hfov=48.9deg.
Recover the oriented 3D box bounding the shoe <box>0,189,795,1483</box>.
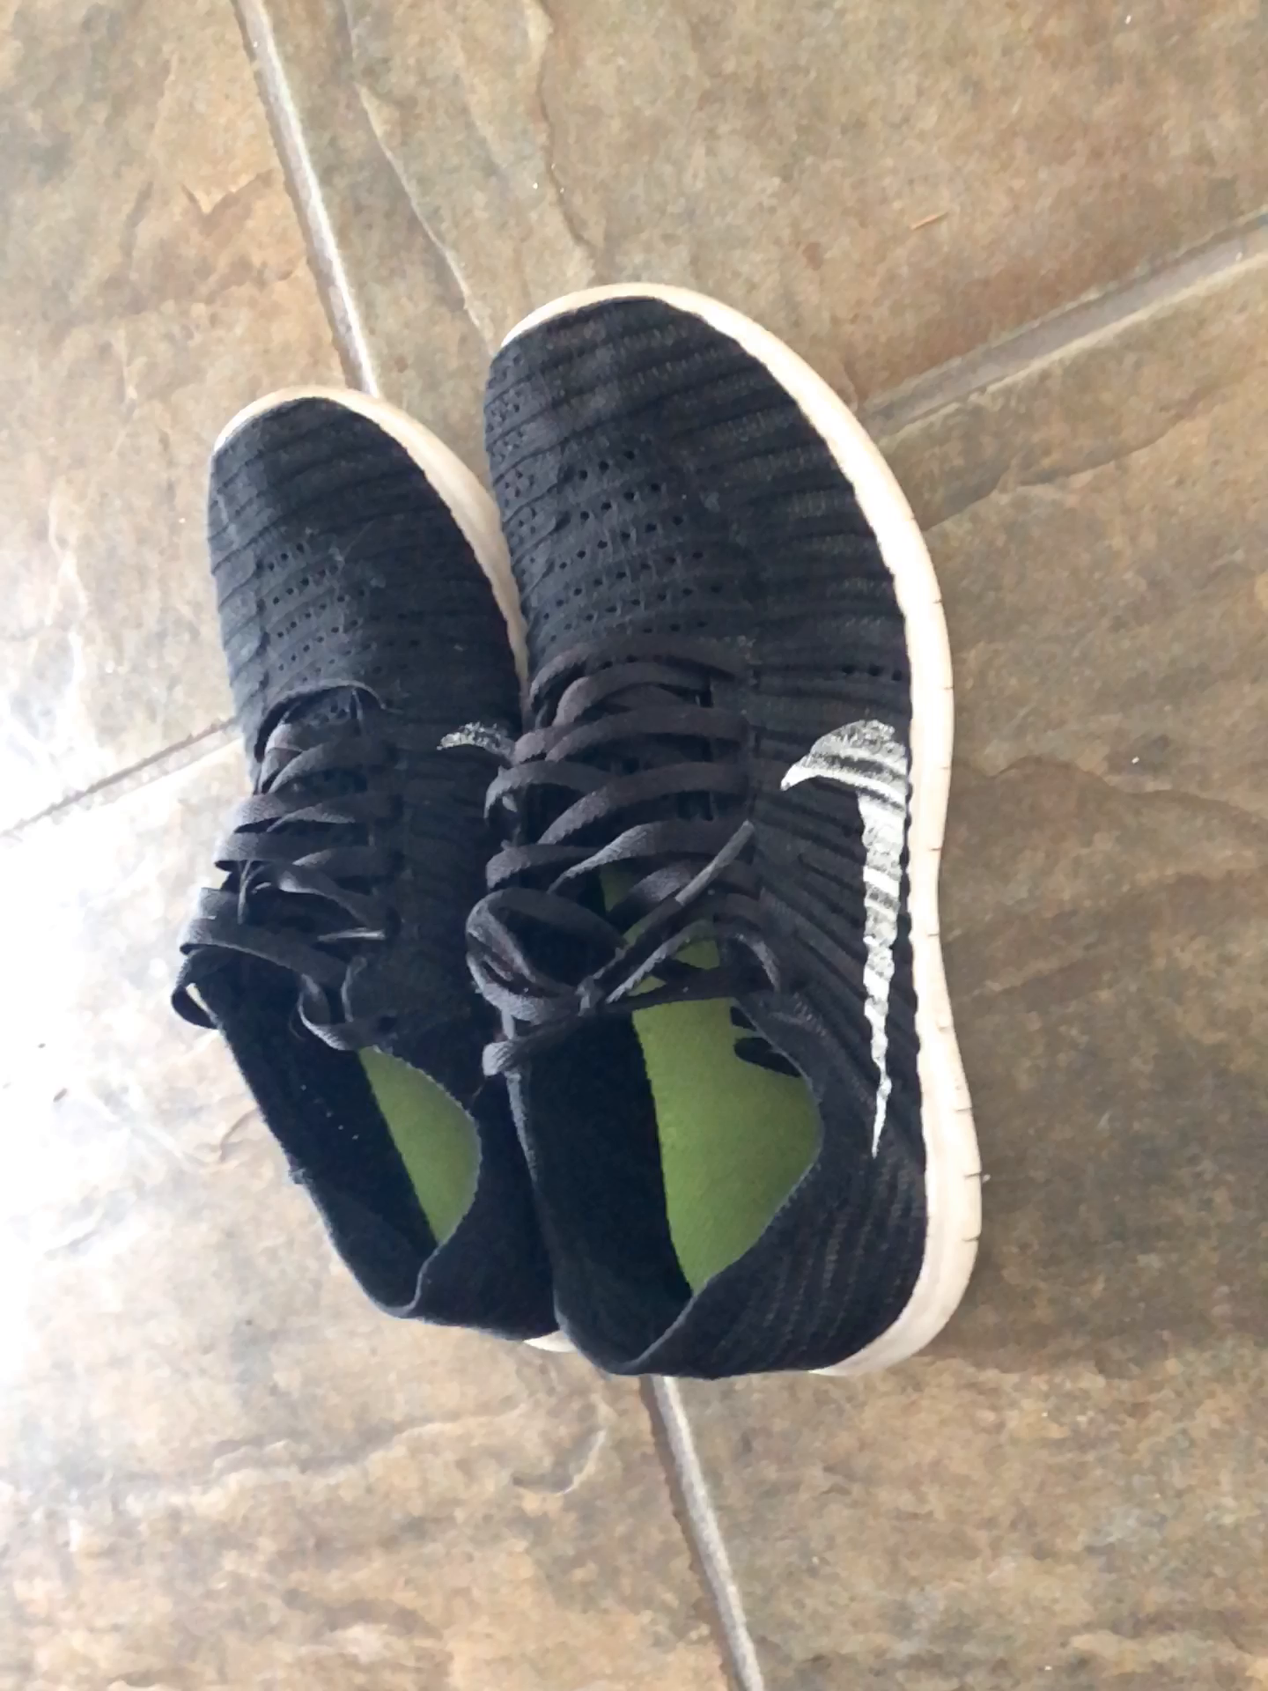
[{"bbox_3d":[-0.066,0.001,0.346,0.110,0.100,0.260,-19,84,28],"label":"shoe"}]

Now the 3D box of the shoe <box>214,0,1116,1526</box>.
[{"bbox_3d":[0.011,-0.013,0.295,0.110,0.100,0.260,-12,87,28],"label":"shoe"}]
